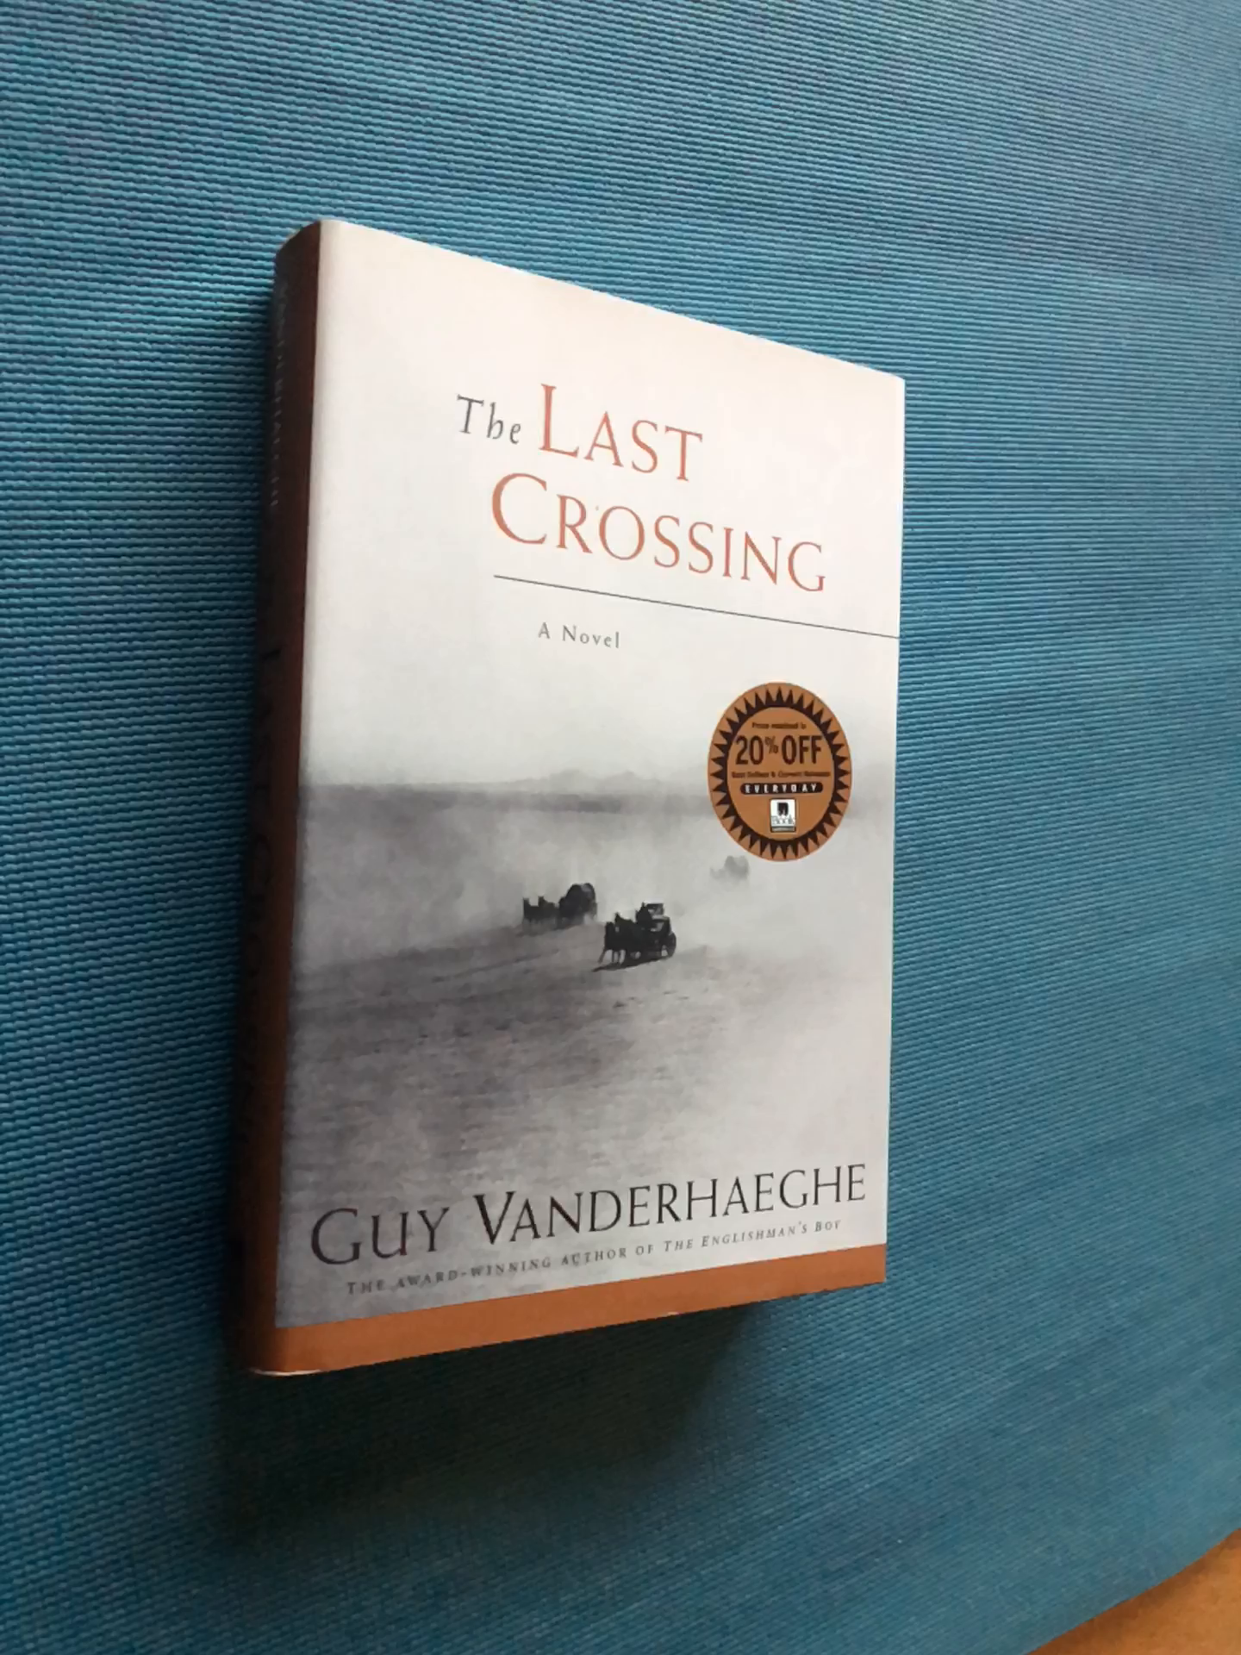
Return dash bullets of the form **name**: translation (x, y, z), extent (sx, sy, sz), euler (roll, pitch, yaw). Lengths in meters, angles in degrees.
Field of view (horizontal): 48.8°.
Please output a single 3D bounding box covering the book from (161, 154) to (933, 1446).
- **book**: translation (-0.007, -0.004, 0.305), extent (0.170, 0.040, 0.230), euler (3, 86, -32)
